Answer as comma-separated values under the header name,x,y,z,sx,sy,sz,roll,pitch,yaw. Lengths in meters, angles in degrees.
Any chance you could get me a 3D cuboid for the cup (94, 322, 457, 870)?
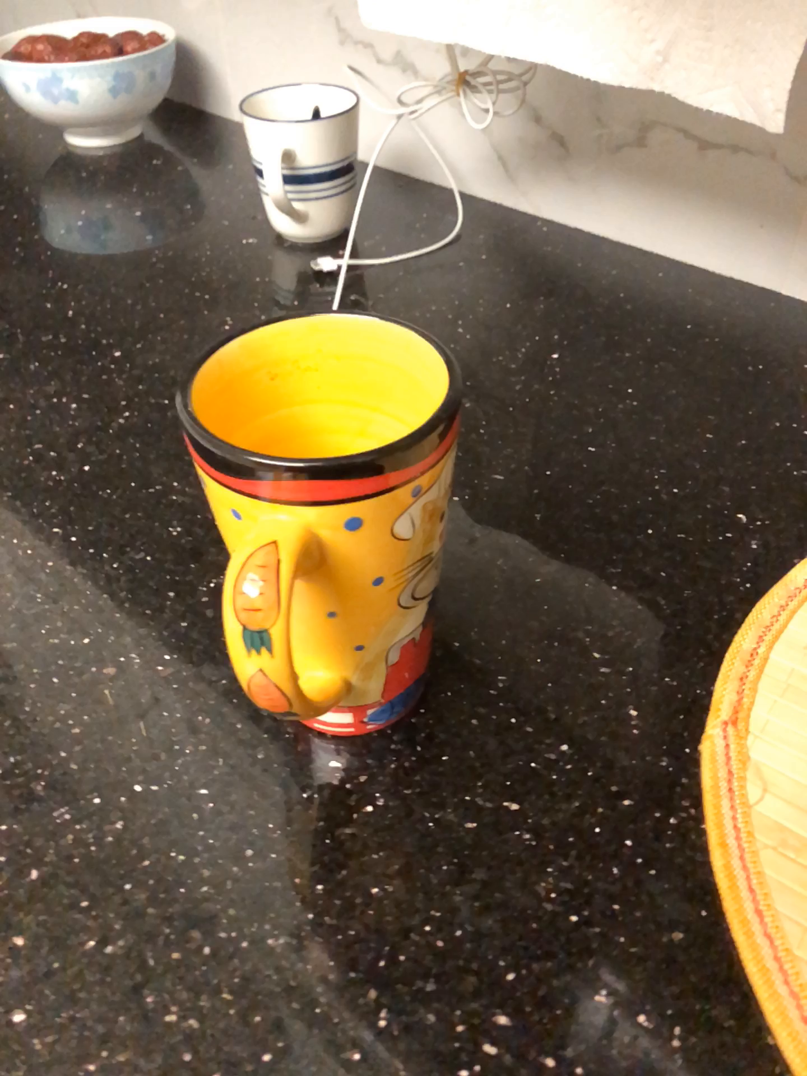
name,x,y,z,sx,sy,sz,roll,pitch,yaw
cup,-0.028,0.019,0.314,0.090,0.139,0.131,1,41,2
